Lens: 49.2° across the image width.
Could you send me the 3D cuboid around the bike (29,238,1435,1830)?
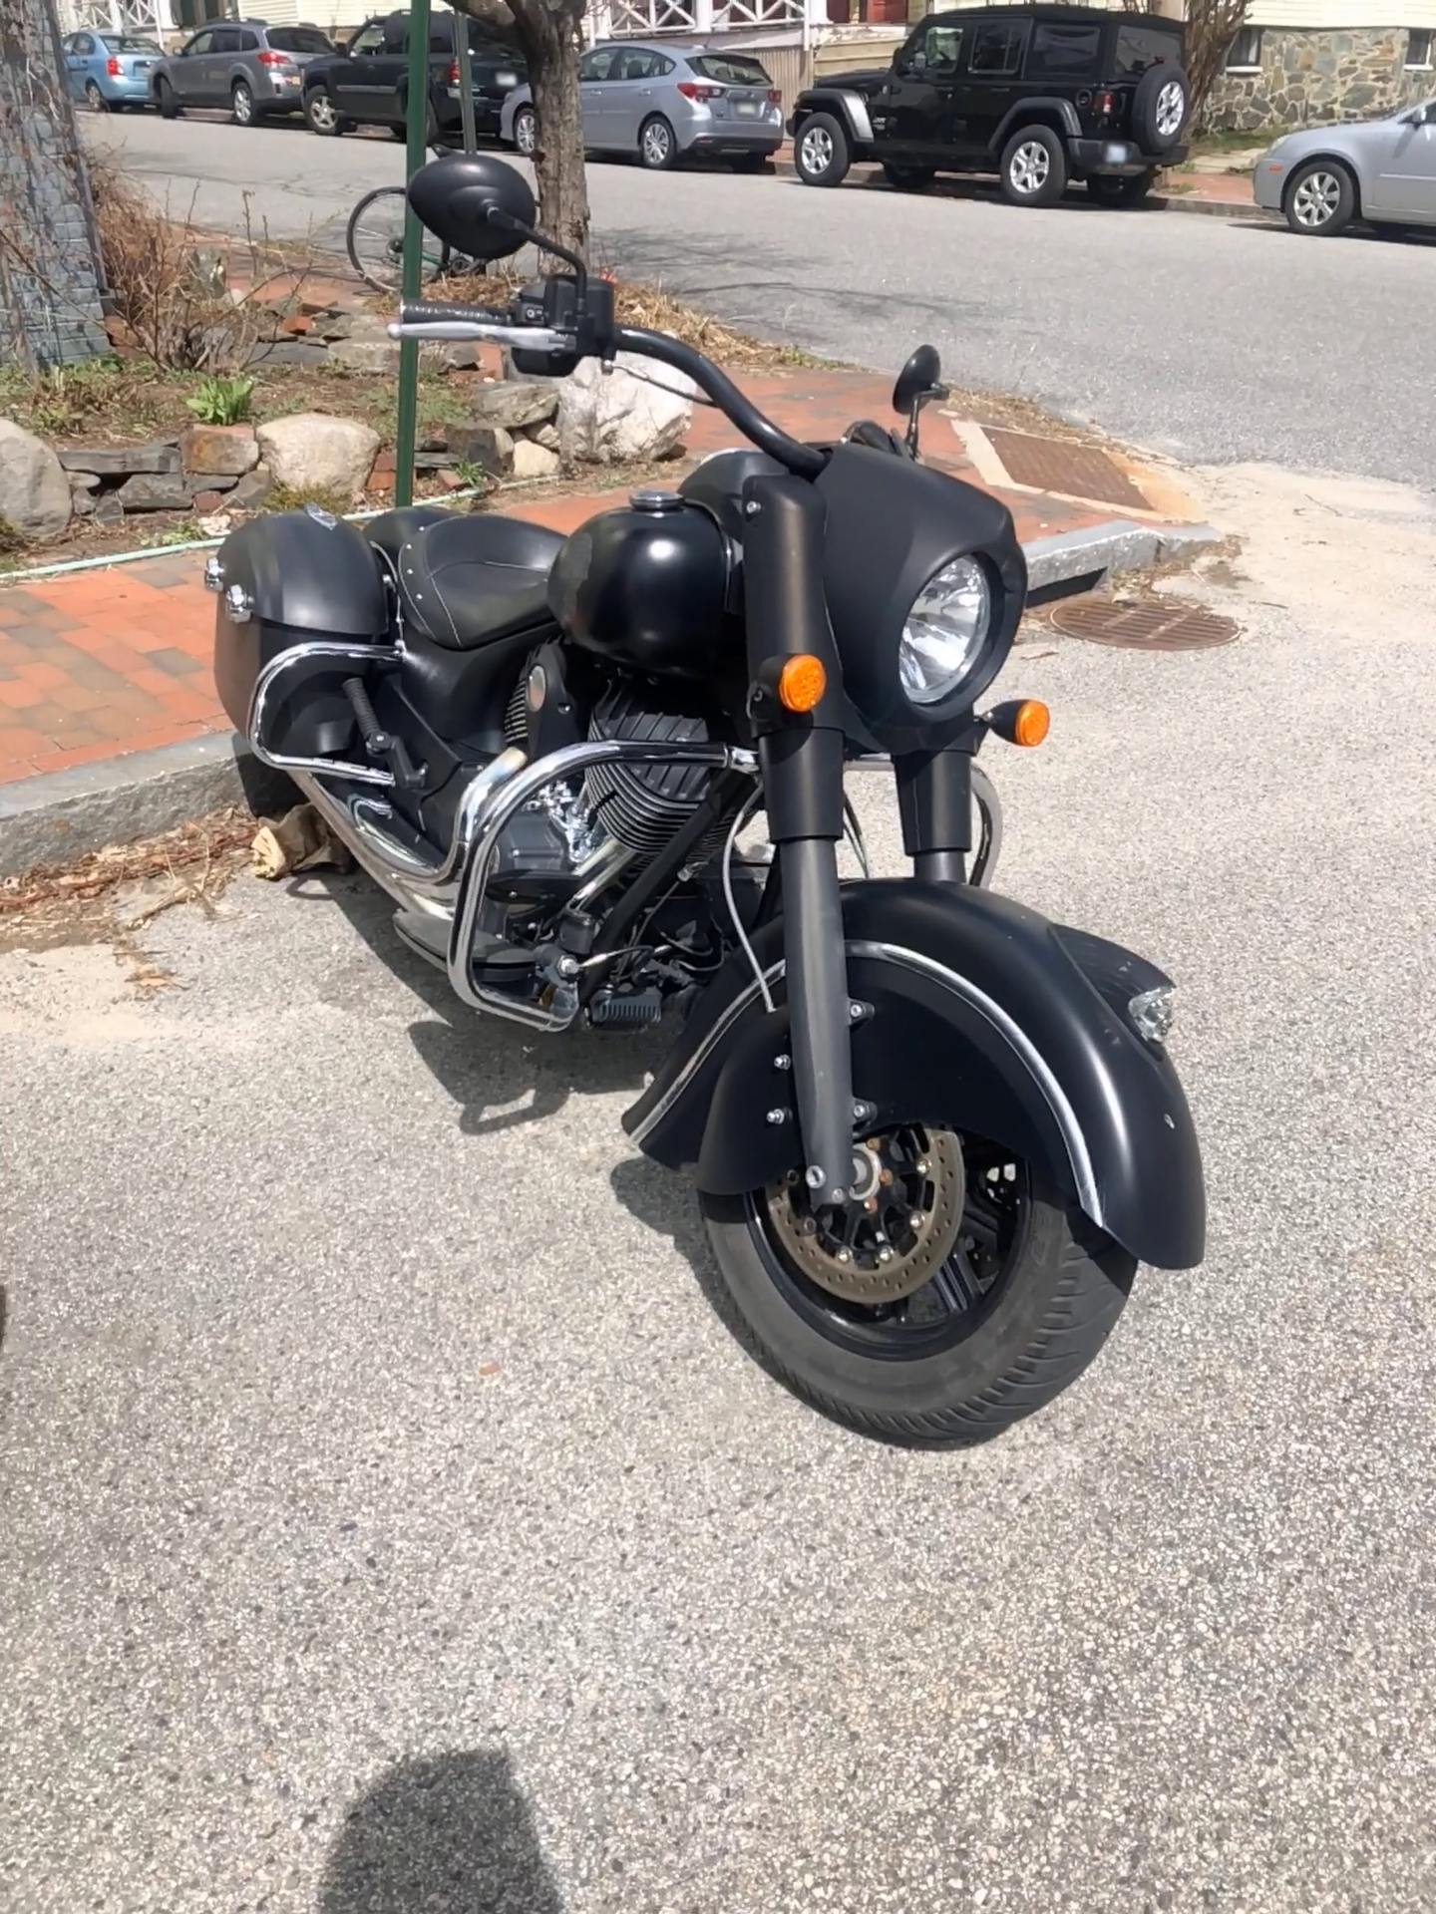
[{"bbox_3d":[-0.178,-0.229,2.325,0.859,1.301,2.096,-19,34,-29],"label":"bike"}]
